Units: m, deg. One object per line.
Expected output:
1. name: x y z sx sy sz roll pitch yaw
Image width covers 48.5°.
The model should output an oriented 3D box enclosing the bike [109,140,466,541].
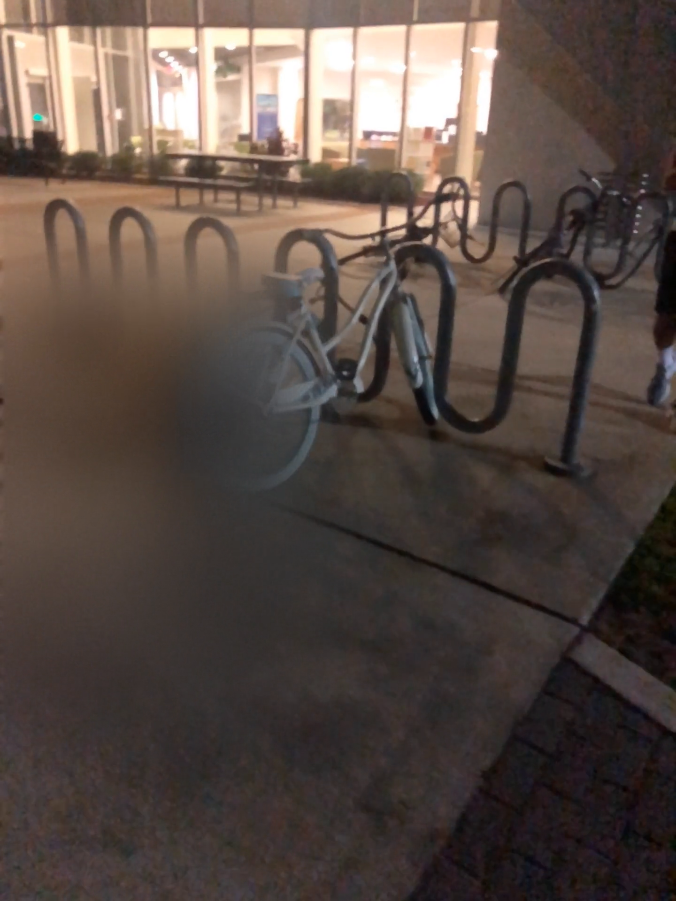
1. bike: -0.127 -0.657 3.254 0.741 1.095 1.685 15 30 30
